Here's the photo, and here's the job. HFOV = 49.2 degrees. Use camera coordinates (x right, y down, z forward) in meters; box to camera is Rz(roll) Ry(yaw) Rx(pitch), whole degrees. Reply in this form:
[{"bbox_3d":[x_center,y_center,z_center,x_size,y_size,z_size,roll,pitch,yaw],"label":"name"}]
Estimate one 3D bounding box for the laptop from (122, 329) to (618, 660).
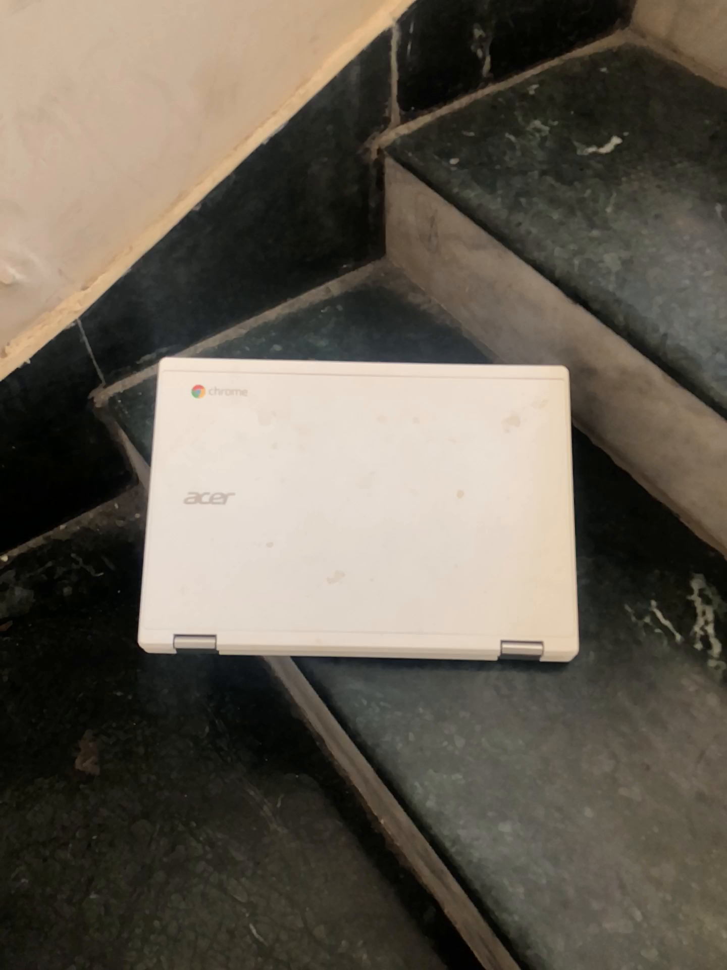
[{"bbox_3d":[0.002,0.005,0.538,0.282,0.091,0.191,1,58,-2],"label":"laptop"}]
